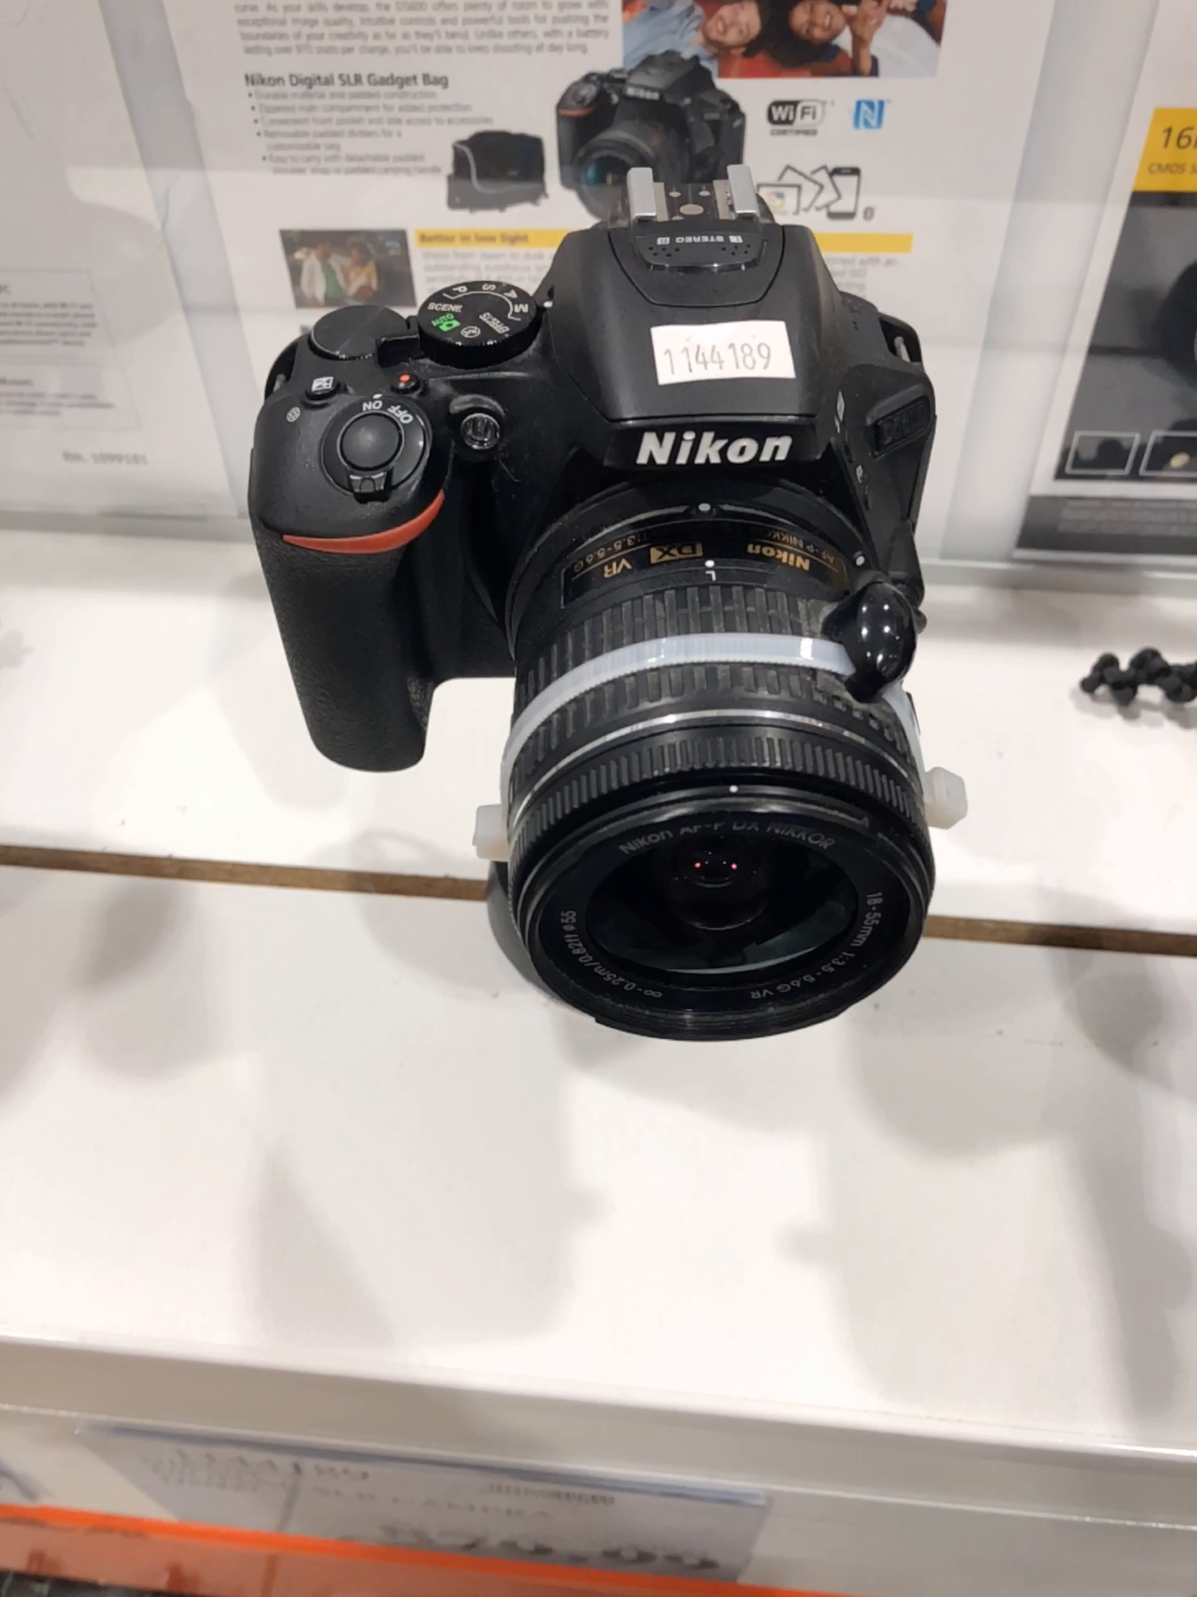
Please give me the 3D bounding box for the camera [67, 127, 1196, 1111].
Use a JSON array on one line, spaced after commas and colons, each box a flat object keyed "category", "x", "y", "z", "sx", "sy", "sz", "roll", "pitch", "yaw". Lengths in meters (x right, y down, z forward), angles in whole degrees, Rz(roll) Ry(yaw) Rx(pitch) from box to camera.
[{"category": "camera", "x": 0.005, "y": -0.035, "z": 0.225, "sx": 0.130, "sy": 0.090, "sz": 0.140, "roll": -2, "pitch": 49, "yaw": -2}]
